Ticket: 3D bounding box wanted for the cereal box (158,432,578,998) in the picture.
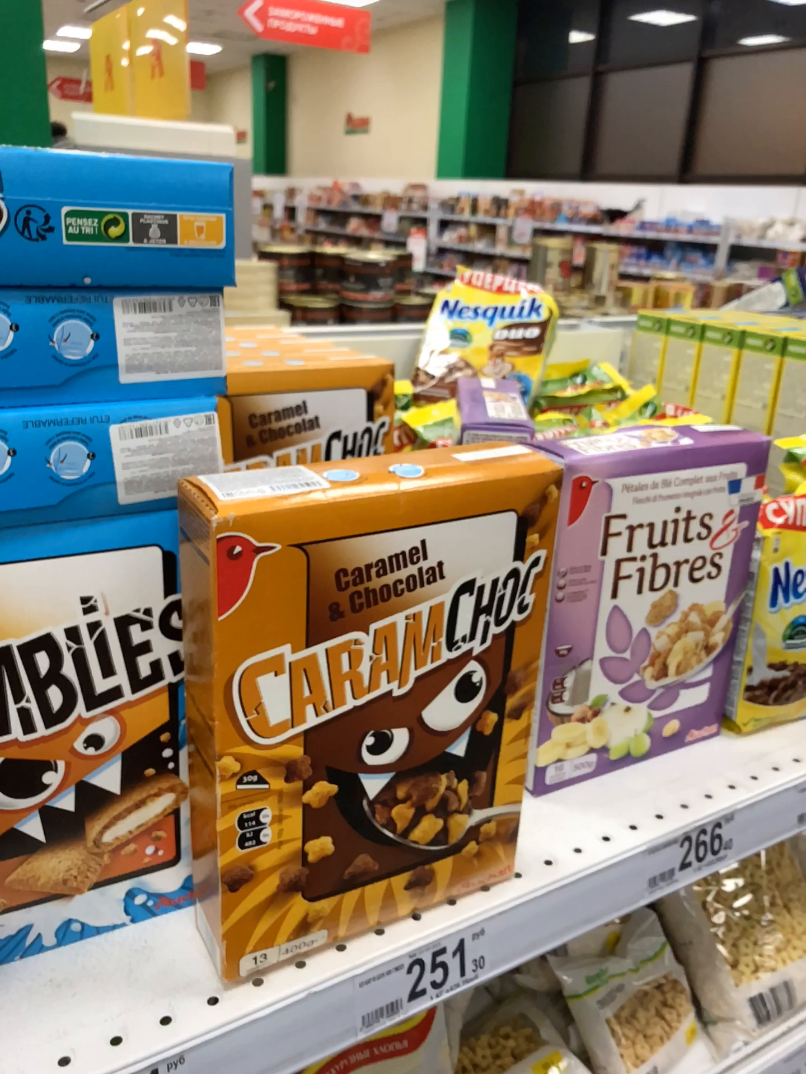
[{"bbox_3d":[-0.020,0.089,0.486,0.200,0.269,0.060,-9,25,-29],"label":"cereal box"}]
